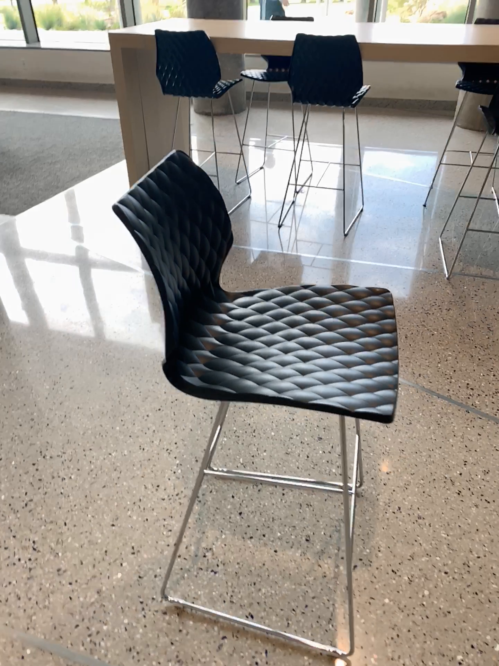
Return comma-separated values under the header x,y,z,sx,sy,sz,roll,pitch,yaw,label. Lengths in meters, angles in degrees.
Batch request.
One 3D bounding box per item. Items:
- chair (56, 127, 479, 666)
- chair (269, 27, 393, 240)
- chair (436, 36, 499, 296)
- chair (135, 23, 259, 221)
x,y,z,sx,sy,sz,roll,pitch,yaw,label
0.070,0.163,1.154,0.547,1.047,0.536,8,36,12,chair
0.465,-1.192,3.051,0.532,1.047,0.550,13,37,18,chair
1.296,-0.807,2.480,0.532,1.047,0.551,10,36,15,chair
-0.287,-1.356,3.276,0.532,1.047,0.550,13,37,18,chair
